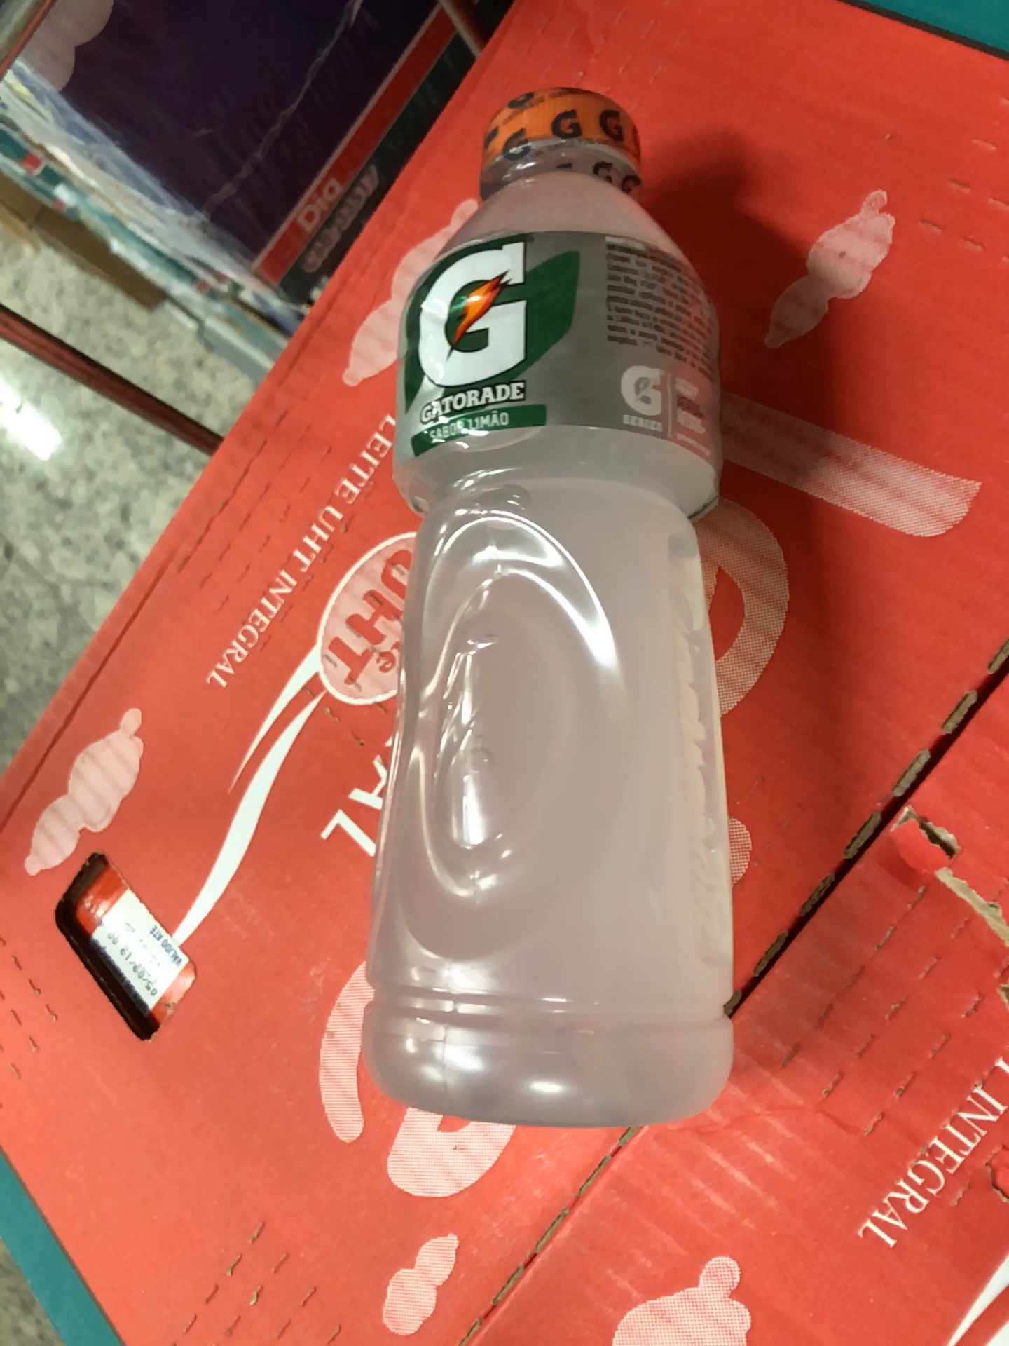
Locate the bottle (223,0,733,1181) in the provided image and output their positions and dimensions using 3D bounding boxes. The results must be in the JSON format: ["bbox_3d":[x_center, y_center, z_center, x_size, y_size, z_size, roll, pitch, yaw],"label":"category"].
[{"bbox_3d":[0.001,-0.023,0.223,0.070,0.060,0.210,-5,75,26],"label":"bottle"}]

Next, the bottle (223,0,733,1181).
[{"bbox_3d":[0.001,-0.023,0.223,0.070,0.060,0.210,-5,75,26],"label":"bottle"}]
